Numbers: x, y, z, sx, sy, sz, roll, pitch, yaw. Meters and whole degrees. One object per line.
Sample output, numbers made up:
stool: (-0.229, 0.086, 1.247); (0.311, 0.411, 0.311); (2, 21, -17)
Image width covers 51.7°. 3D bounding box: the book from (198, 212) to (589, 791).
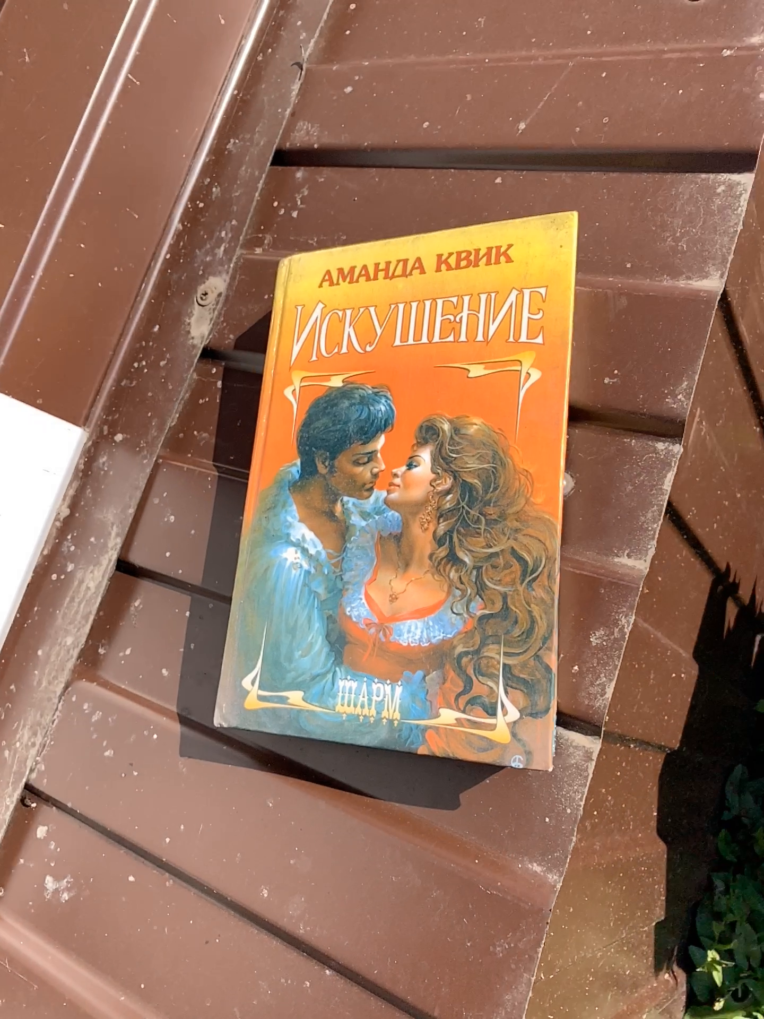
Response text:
book: (0.005, -0.008, 0.305); (0.135, 0.024, 0.200); (0, 78, 26)
